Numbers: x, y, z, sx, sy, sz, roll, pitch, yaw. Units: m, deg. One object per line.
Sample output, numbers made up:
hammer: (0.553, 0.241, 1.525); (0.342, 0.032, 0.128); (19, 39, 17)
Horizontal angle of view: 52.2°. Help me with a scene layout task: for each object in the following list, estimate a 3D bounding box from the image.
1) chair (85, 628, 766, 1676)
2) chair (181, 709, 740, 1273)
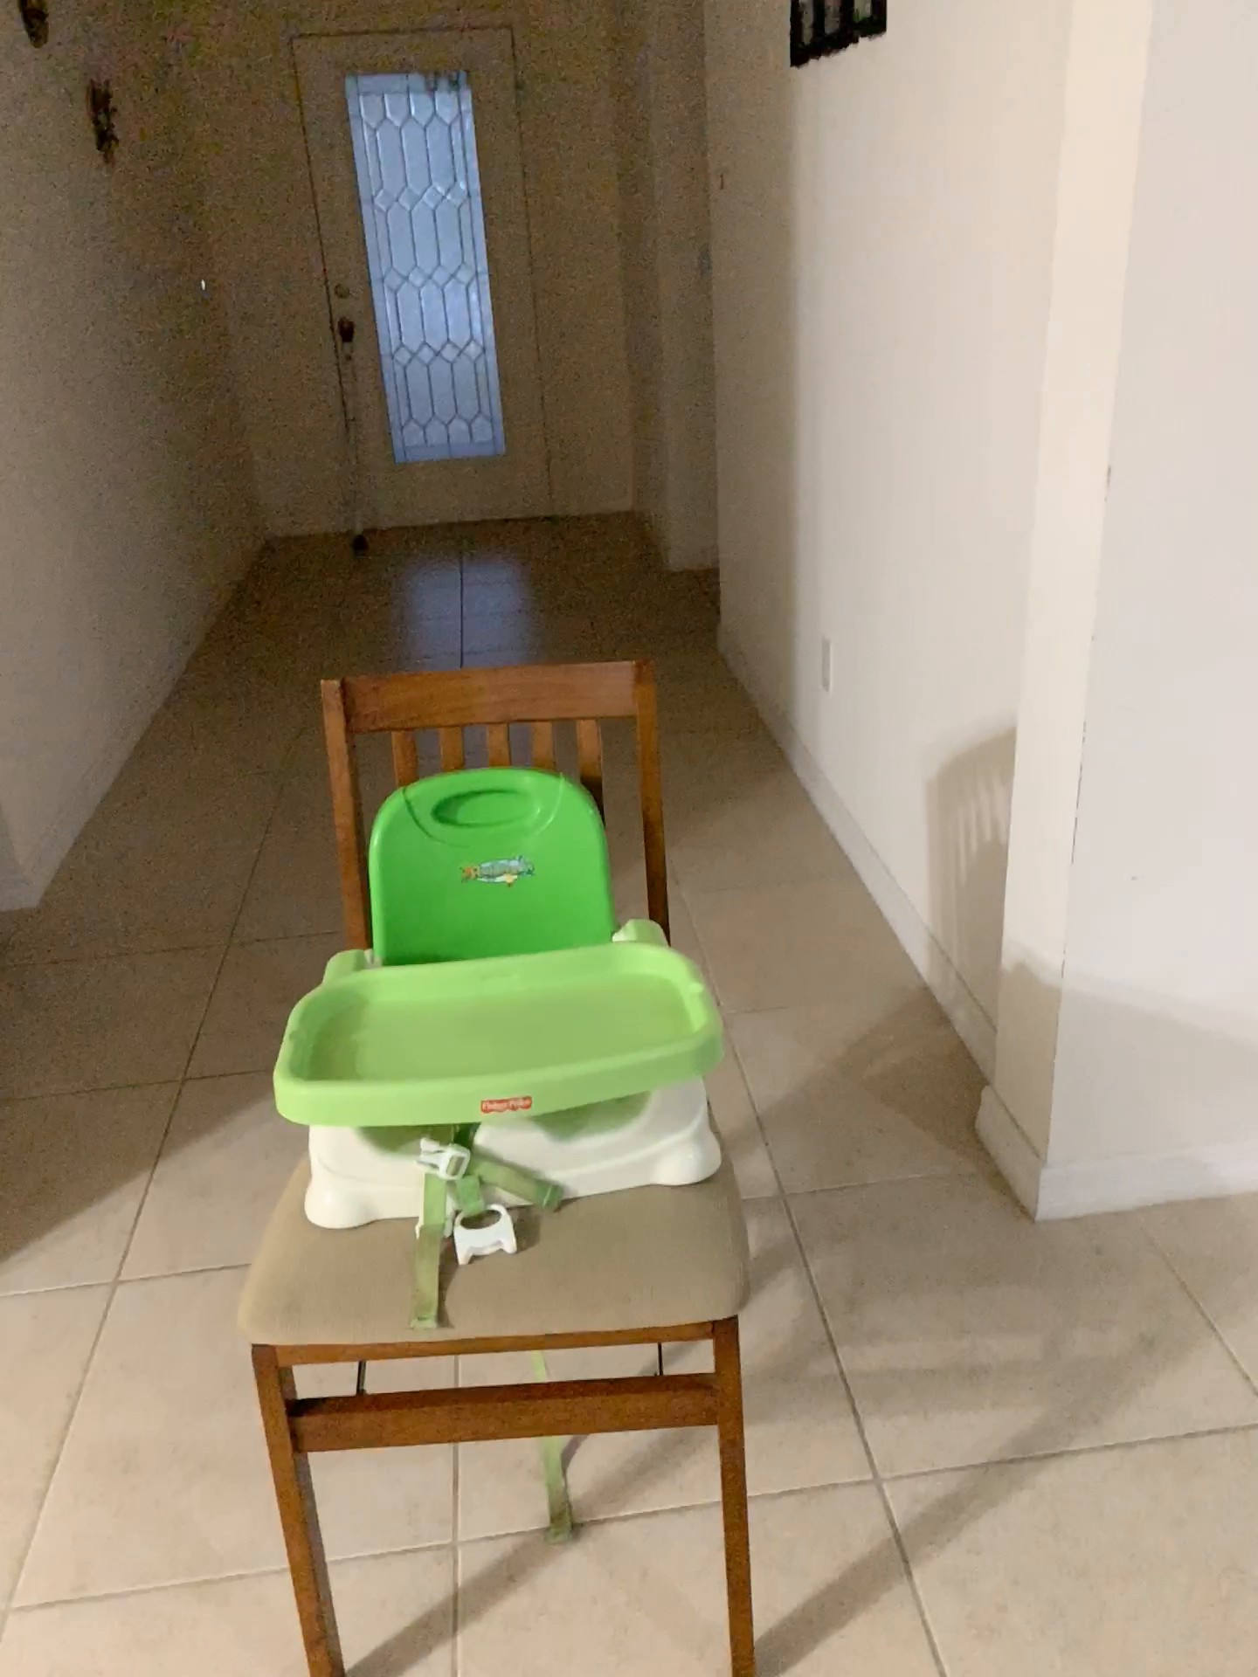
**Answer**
chair: (-0.124, 0.308, 1.304); (0.454, 0.884, 0.559); (-3, 24, 0)
chair: (-0.131, 0.115, 1.187); (0.404, 0.328, 0.387); (-5, 24, -3)
